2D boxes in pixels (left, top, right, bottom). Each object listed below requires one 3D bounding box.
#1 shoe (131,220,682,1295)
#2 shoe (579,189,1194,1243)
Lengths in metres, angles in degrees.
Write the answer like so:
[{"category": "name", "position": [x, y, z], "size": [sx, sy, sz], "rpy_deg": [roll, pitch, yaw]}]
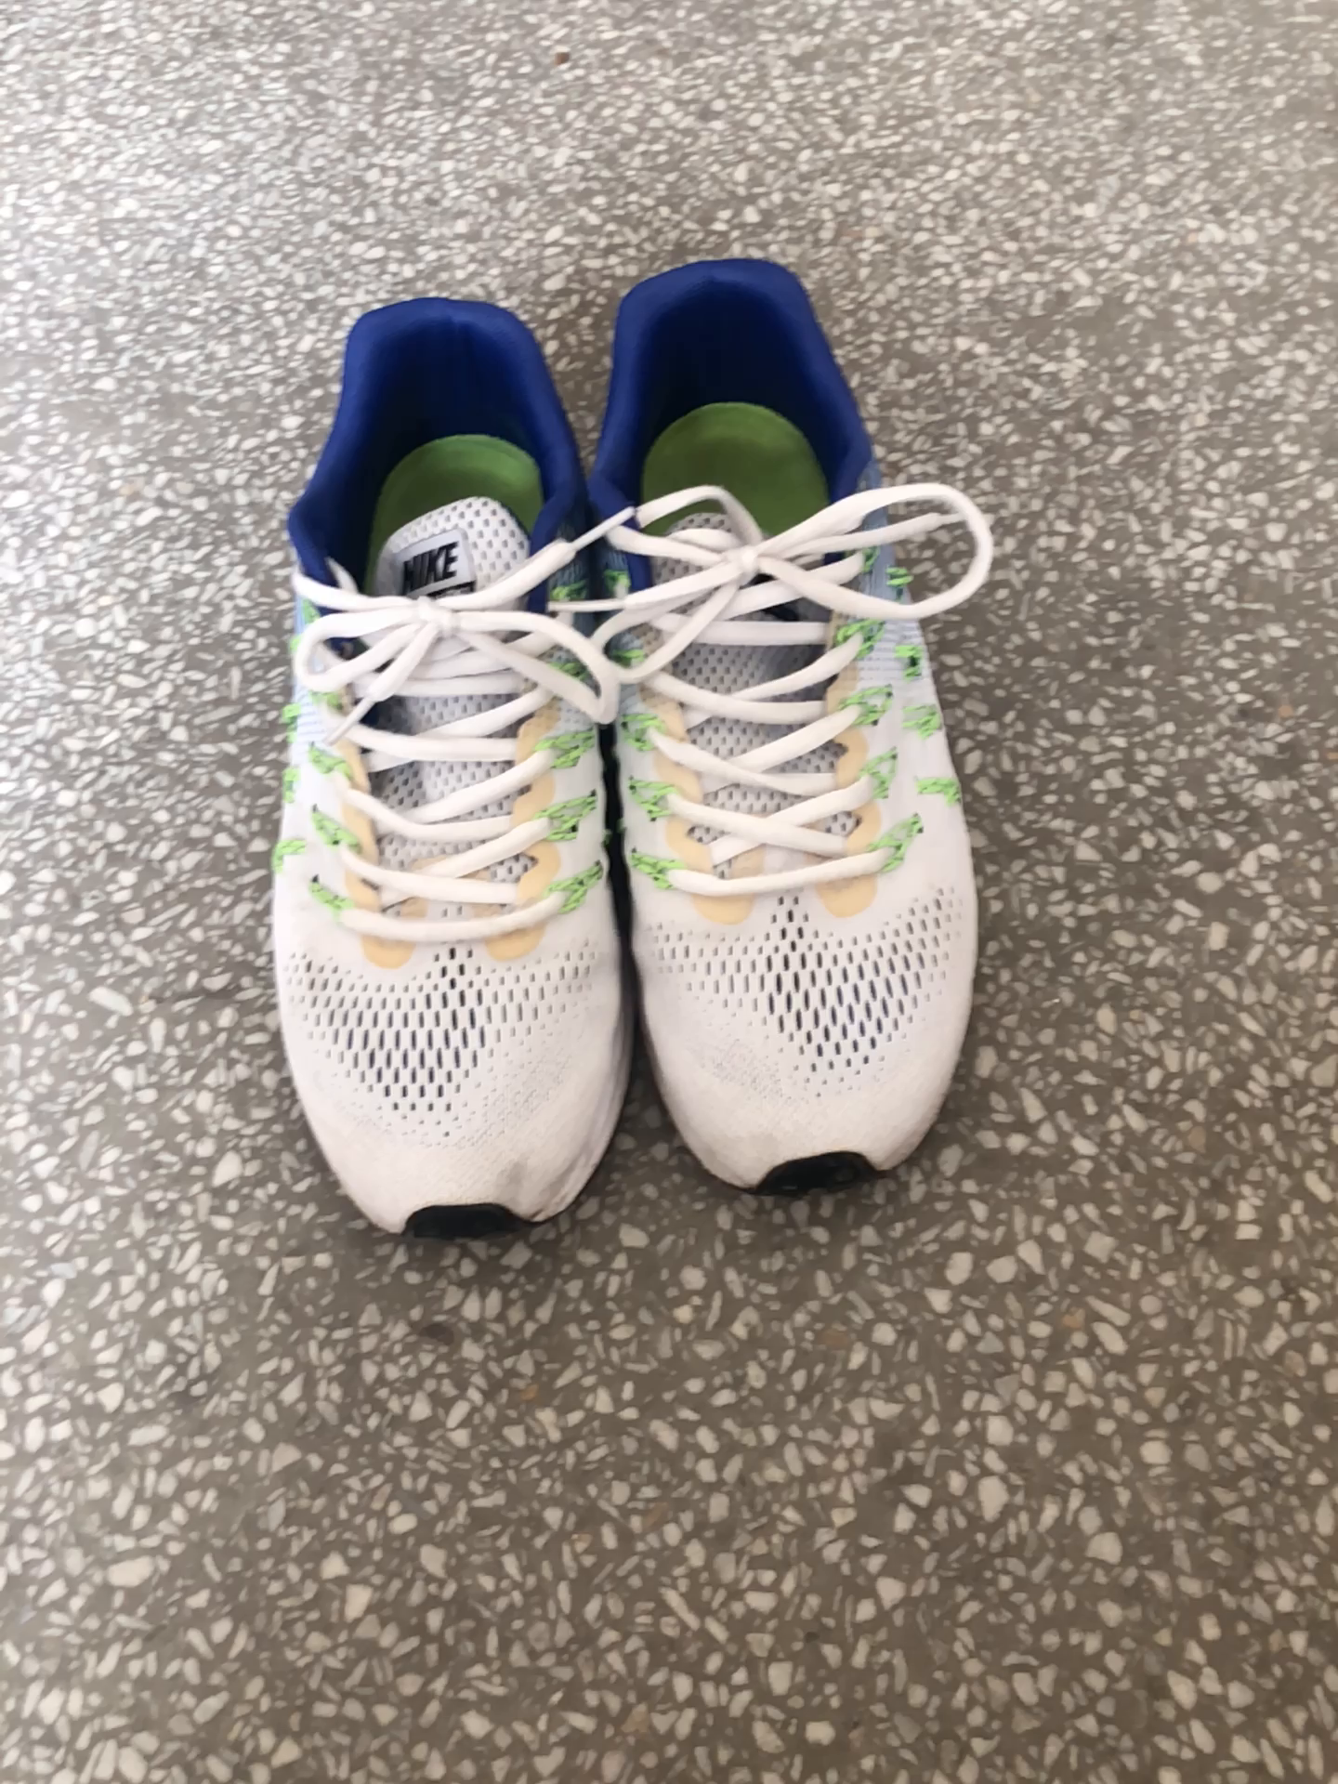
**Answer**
[{"category": "shoe", "position": [-0.066, -0.044, 0.428], "size": [0.112, 0.114, 0.282], "rpy_deg": [-5, 63, 0]}, {"category": "shoe", "position": [0.045, -0.055, 0.429], "size": [0.111, 0.114, 0.276], "rpy_deg": [-6, 63, -1]}]
